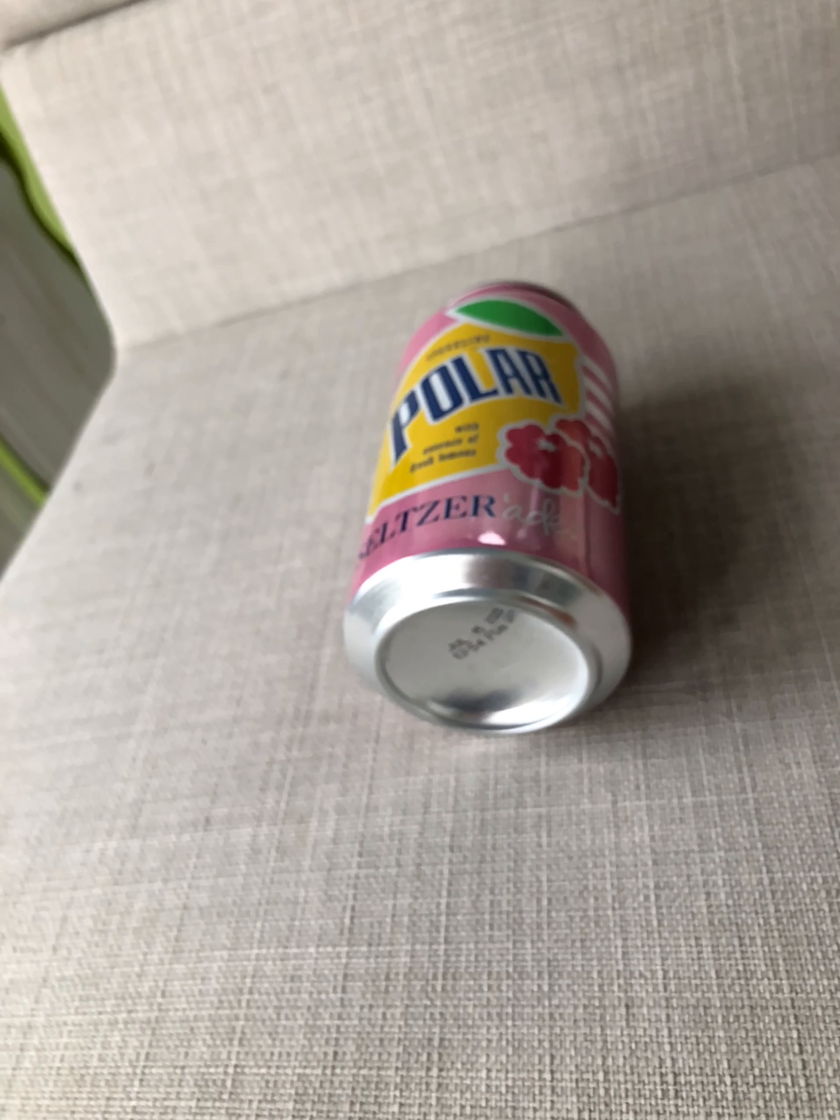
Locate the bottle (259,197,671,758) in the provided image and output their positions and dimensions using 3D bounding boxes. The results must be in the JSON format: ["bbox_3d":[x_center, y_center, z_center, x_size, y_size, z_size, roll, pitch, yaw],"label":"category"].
[{"bbox_3d":[0.017,-0.024,0.240,0.070,0.065,0.123,-9,44,16],"label":"bottle"}]
